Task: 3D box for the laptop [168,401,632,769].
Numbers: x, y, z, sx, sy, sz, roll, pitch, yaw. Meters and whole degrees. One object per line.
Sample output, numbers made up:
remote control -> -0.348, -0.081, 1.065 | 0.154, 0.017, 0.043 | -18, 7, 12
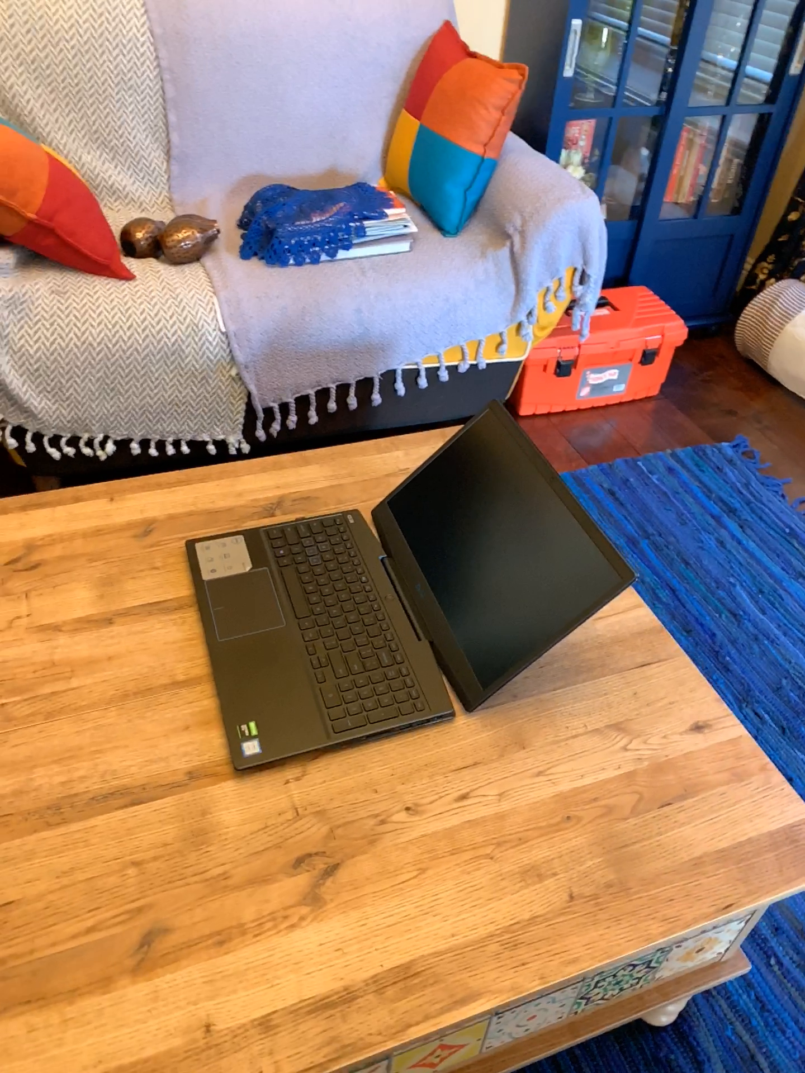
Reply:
laptop -> -0.024, 0.027, 0.949 | 0.418, 0.156, 0.347 | -11, 43, -17
